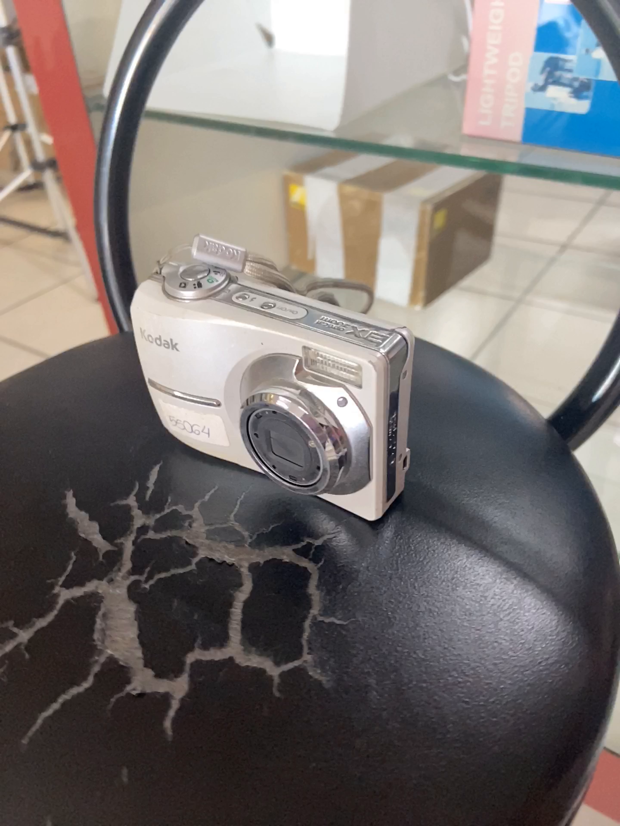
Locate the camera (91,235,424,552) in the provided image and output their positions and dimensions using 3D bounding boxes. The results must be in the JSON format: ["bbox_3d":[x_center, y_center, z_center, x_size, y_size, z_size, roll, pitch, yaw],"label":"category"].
[{"bbox_3d":[-0.015,-0.009,0.209,0.090,0.070,0.040,19,42,27],"label":"camera"}]
